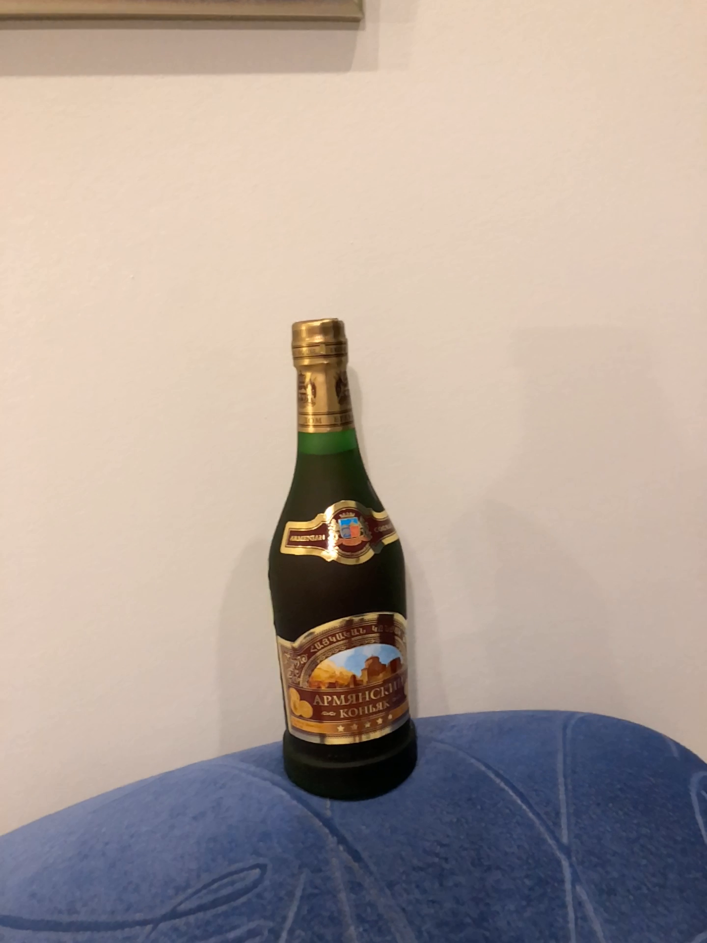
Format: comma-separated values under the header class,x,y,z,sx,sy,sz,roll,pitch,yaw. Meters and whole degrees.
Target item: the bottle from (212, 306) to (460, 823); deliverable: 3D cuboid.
class,x,y,z,sx,sy,sz,roll,pitch,yaw
bottle,-0.010,0.041,0.413,0.090,0.243,0.080,-8,10,-17
